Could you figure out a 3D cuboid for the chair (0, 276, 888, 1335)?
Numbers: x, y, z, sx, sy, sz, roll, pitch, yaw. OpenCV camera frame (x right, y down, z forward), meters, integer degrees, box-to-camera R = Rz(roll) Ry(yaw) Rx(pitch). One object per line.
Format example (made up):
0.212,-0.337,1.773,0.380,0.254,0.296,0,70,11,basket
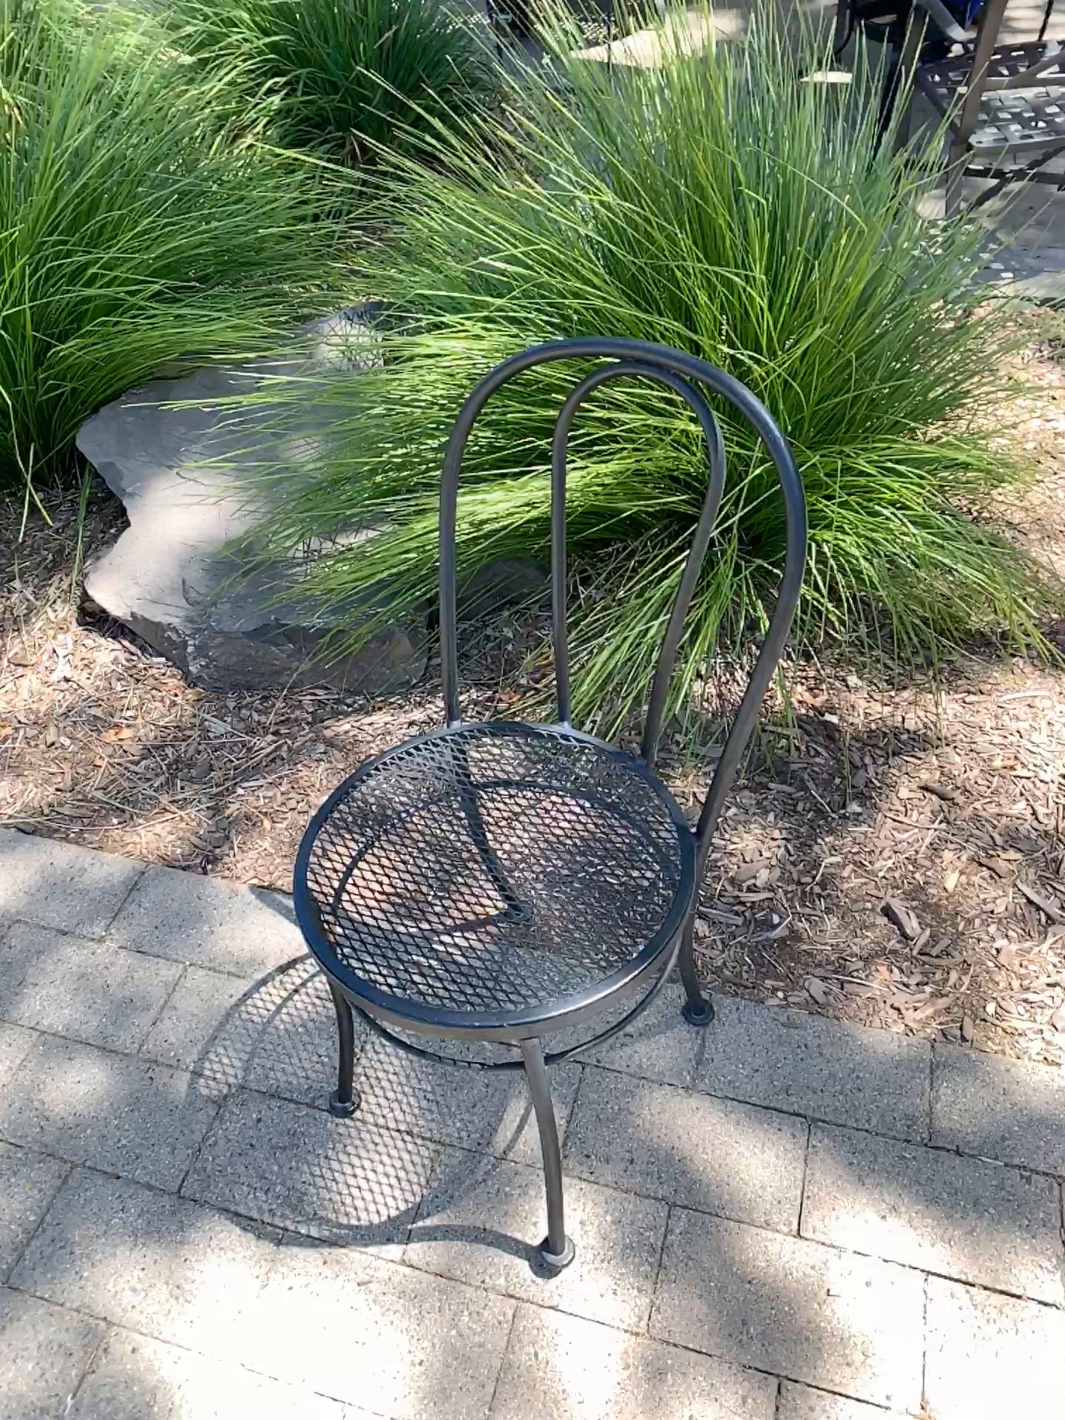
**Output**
-0.046,0.107,1.095,0.473,0.788,0.538,23,51,24,chair
